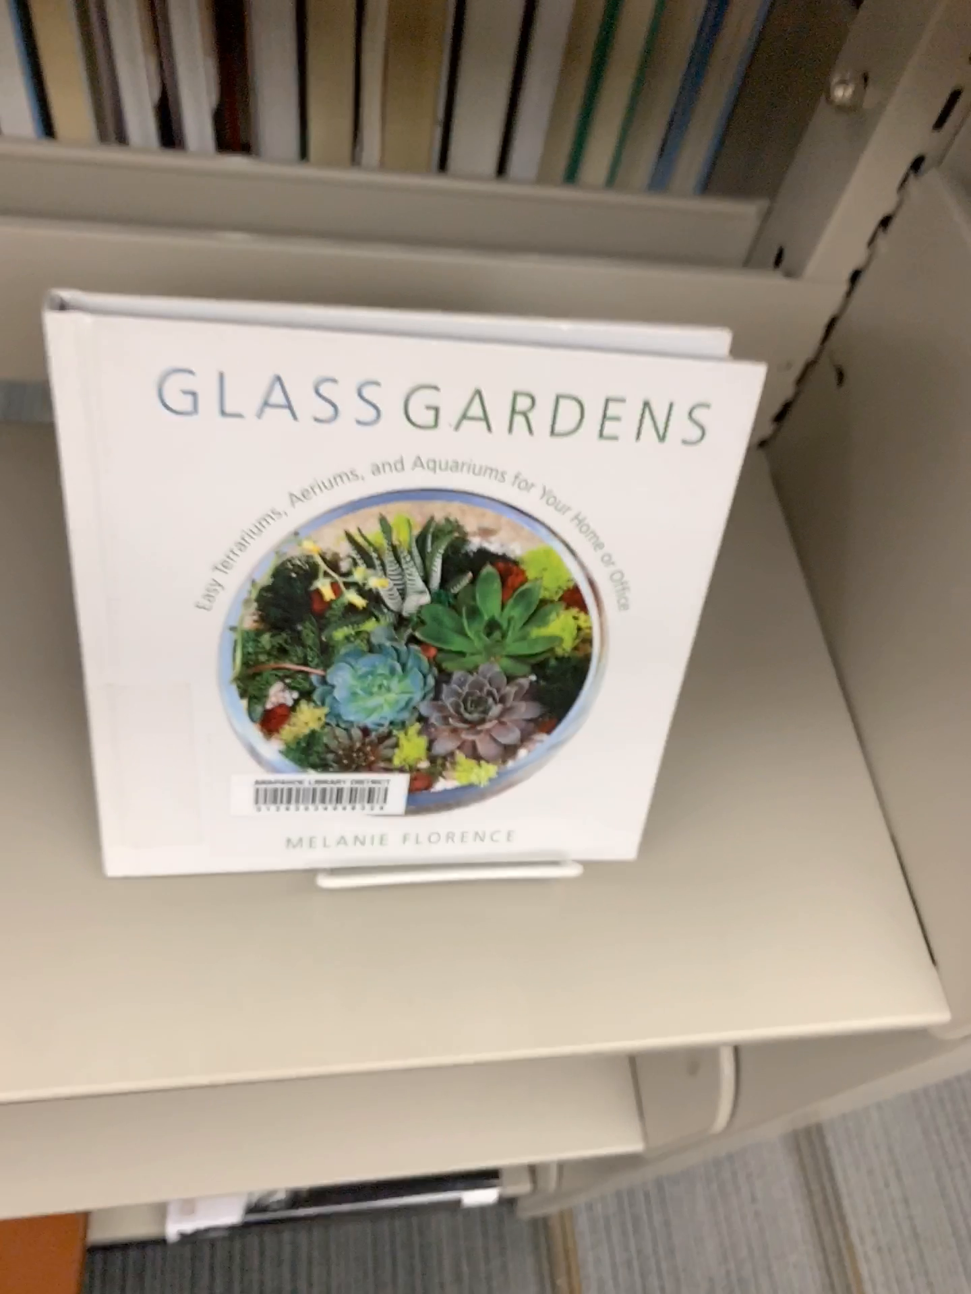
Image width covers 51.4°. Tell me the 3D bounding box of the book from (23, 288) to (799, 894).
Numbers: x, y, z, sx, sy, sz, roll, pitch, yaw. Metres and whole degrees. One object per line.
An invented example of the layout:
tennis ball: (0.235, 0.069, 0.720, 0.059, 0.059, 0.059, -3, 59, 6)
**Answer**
book: (-0.023, -0.004, 0.293, 0.180, 0.174, 0.030, 1, 33, -11)
